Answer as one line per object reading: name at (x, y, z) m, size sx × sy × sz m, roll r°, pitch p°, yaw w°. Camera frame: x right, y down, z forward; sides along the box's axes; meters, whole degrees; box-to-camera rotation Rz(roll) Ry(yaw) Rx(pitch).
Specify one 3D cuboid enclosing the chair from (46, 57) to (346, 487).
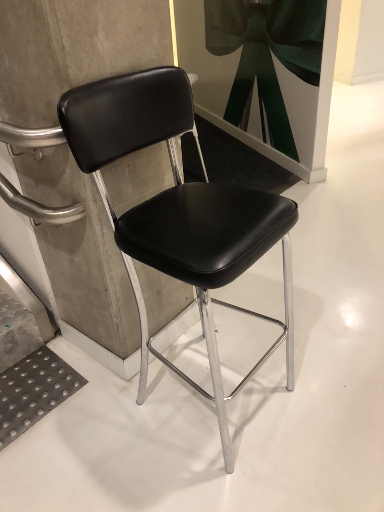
chair at (0.046, 0.043, 1.143) m, size 0.441 × 0.983 × 0.452 m, roll 22°, pitch 41°, yaw 35°
